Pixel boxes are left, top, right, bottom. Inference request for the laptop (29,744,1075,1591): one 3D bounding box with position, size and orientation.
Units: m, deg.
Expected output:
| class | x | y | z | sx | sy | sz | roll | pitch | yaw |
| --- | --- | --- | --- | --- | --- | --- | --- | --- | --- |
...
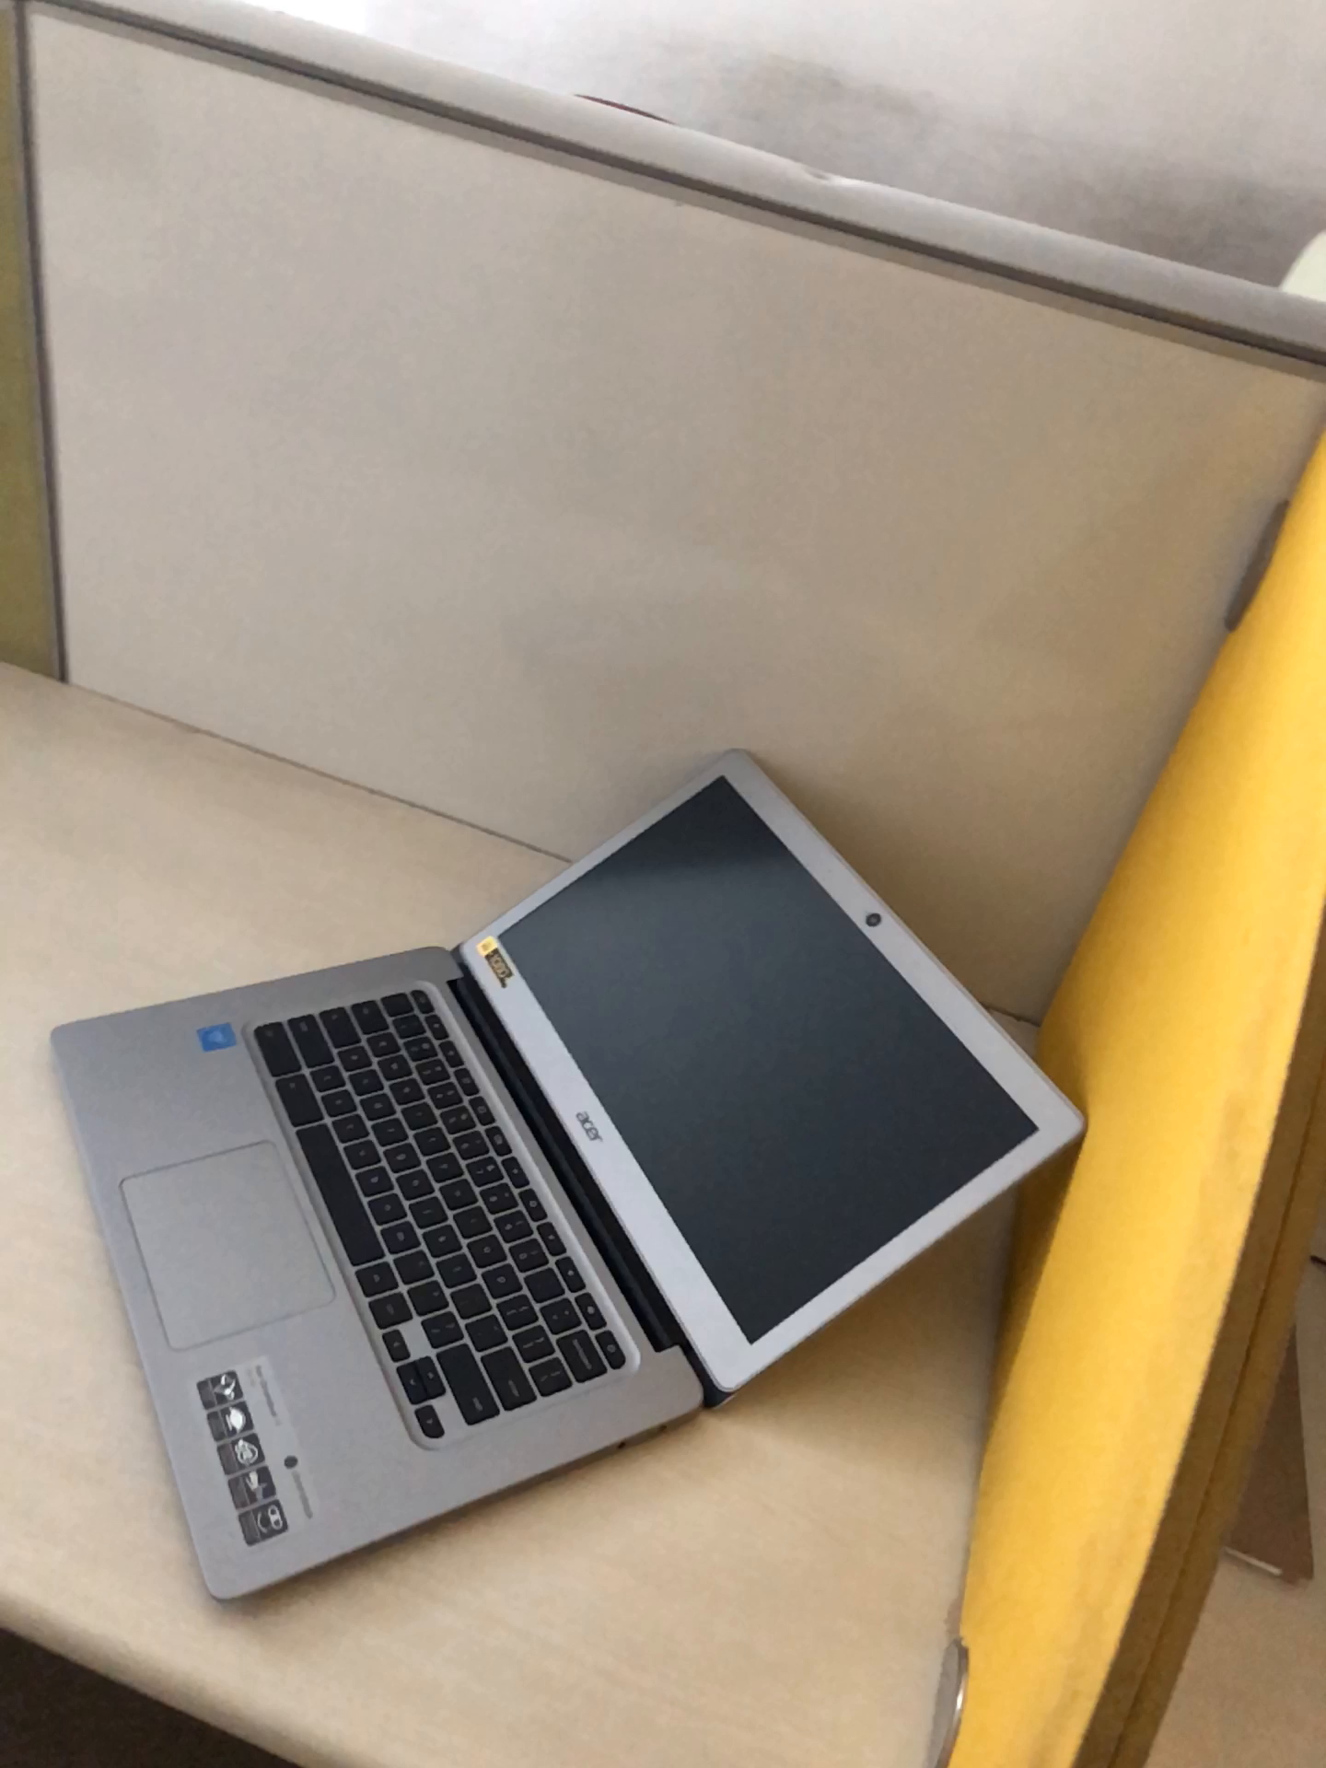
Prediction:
| class | x | y | z | sx | sy | sz | roll | pitch | yaw |
| --- | --- | --- | --- | --- | --- | --- | --- | --- | --- |
| laptop | -0.069 | 0.098 | 0.736 | 0.409 | 0.123 | 0.321 | -12 | 44 | -27 |
